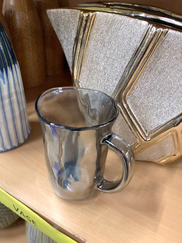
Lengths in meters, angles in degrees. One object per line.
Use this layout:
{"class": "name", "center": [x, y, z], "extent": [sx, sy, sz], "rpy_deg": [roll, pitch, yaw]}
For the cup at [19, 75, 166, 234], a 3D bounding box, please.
{"class": "cup", "center": [-0.001, 0.028, 0.200], "extent": [0.110, 0.110, 0.070], "rpy_deg": [23, 39, 24]}
